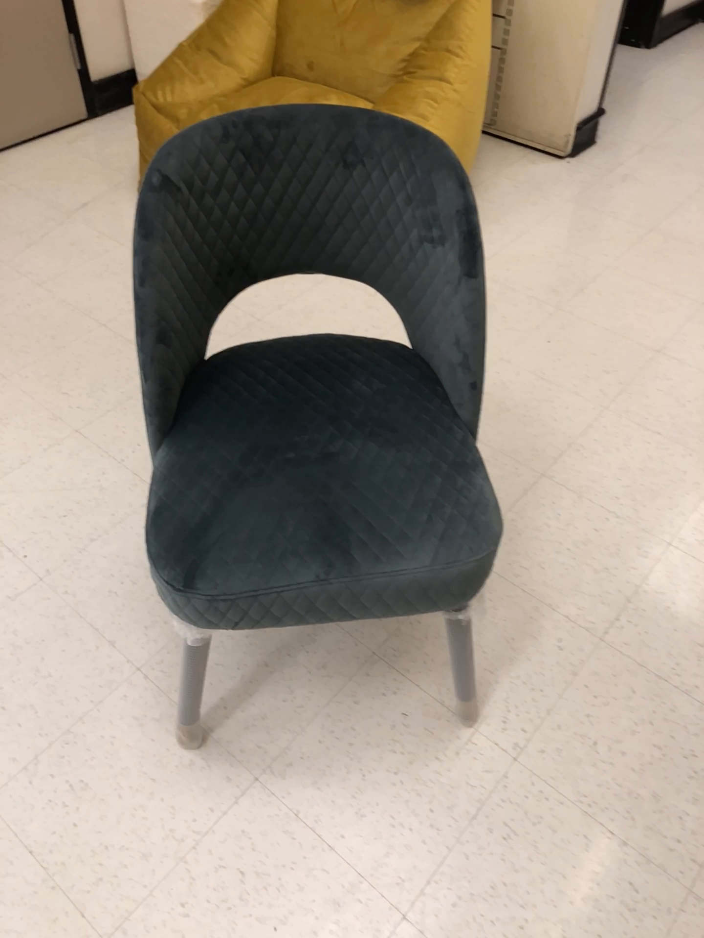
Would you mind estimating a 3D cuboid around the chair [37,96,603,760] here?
[{"bbox_3d":[-0.058,-0.031,1.235,0.531,0.857,0.582,-4,45,-5],"label":"chair"}]
